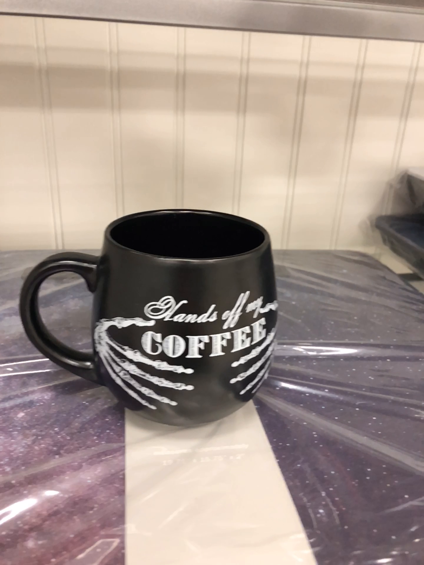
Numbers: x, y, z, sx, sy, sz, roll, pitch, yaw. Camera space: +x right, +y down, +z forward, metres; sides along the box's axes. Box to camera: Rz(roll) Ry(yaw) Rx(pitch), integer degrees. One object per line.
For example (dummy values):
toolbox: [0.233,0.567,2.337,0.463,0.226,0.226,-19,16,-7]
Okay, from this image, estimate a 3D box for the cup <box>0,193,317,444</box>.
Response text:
cup: [-0.028,0.014,0.266,0.140,0.099,0.101,2,24,-2]
